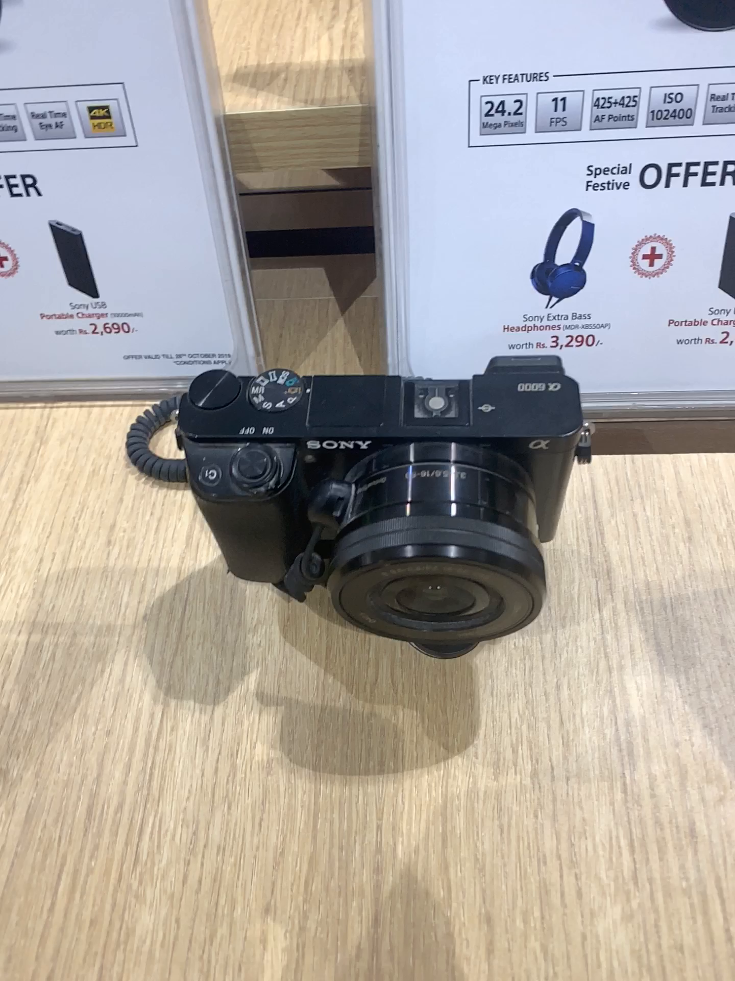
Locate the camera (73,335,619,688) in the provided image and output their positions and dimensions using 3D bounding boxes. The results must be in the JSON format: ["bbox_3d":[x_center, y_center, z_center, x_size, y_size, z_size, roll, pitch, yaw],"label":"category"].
[{"bbox_3d":[-0.002,0.008,0.214,0.120,0.070,0.070,0,55,5],"label":"camera"}]
